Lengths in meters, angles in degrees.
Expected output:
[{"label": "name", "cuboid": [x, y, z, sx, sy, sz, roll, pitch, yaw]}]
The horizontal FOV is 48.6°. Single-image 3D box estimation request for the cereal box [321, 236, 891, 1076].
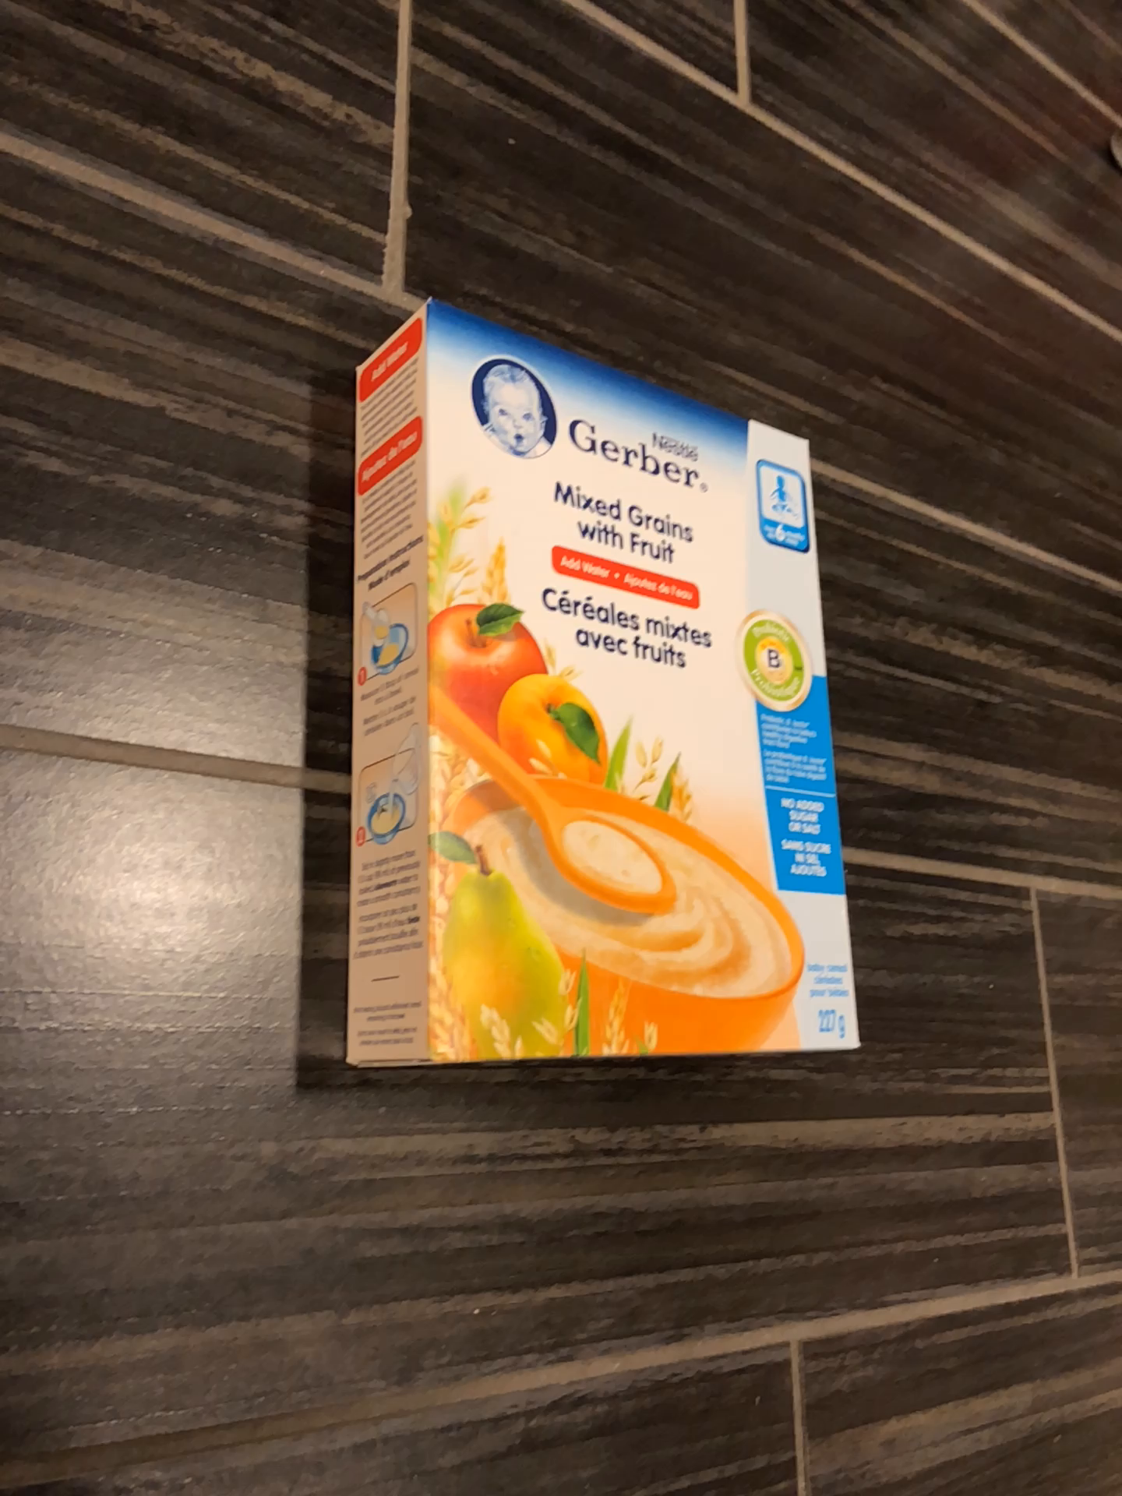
[{"label": "cereal box", "cuboid": [0.015, -0.015, 0.347, 0.151, 0.050, 0.200, 9, 73, -36]}]
